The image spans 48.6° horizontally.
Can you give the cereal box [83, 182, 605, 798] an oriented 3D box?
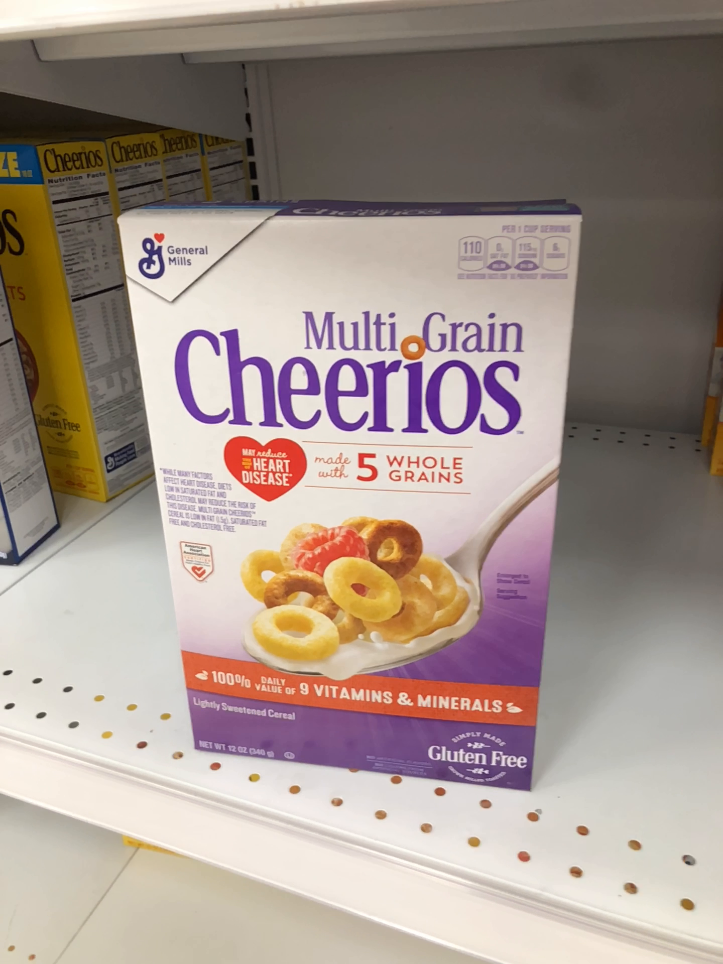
[{"bbox_3d":[-0.002,0.011,0.409,0.210,0.299,0.070,3,26,11],"label":"cereal box"}]
